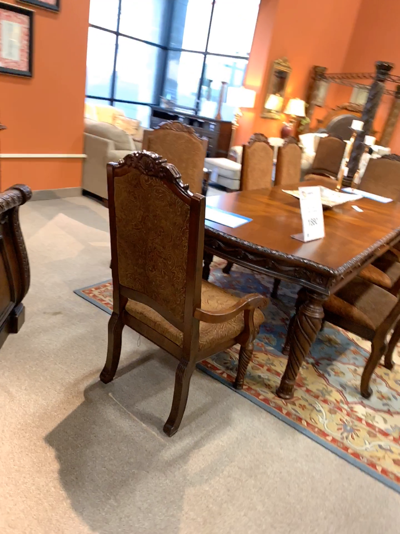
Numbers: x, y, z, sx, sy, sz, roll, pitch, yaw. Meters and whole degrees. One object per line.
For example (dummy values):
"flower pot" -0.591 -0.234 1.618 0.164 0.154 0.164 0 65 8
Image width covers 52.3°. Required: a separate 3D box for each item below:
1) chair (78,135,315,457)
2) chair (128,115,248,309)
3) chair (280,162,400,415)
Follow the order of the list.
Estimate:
"chair" -0.047 0.065 1.818 0.584 1.124 0.671 25 26 32
"chair" -0.154 -0.403 2.950 0.603 1.183 0.672 6 22 -13
"chair" 0.986 0.064 2.246 0.620 1.134 0.565 26 26 33
